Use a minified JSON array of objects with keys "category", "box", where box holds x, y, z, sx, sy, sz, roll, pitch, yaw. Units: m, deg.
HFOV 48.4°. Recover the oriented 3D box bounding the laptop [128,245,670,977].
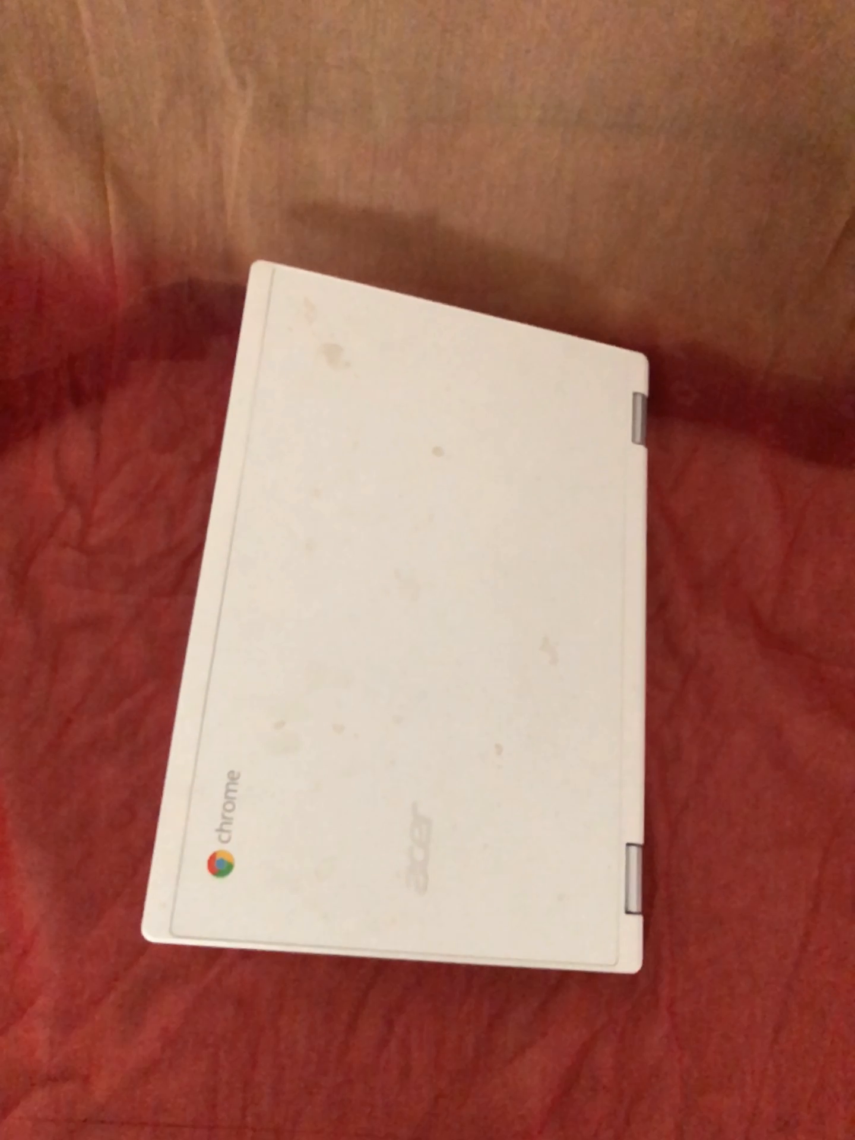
[{"category":"laptop","box":[0.001,0.008,0.413,0.189,0.056,0.288,7,70,-1]}]
